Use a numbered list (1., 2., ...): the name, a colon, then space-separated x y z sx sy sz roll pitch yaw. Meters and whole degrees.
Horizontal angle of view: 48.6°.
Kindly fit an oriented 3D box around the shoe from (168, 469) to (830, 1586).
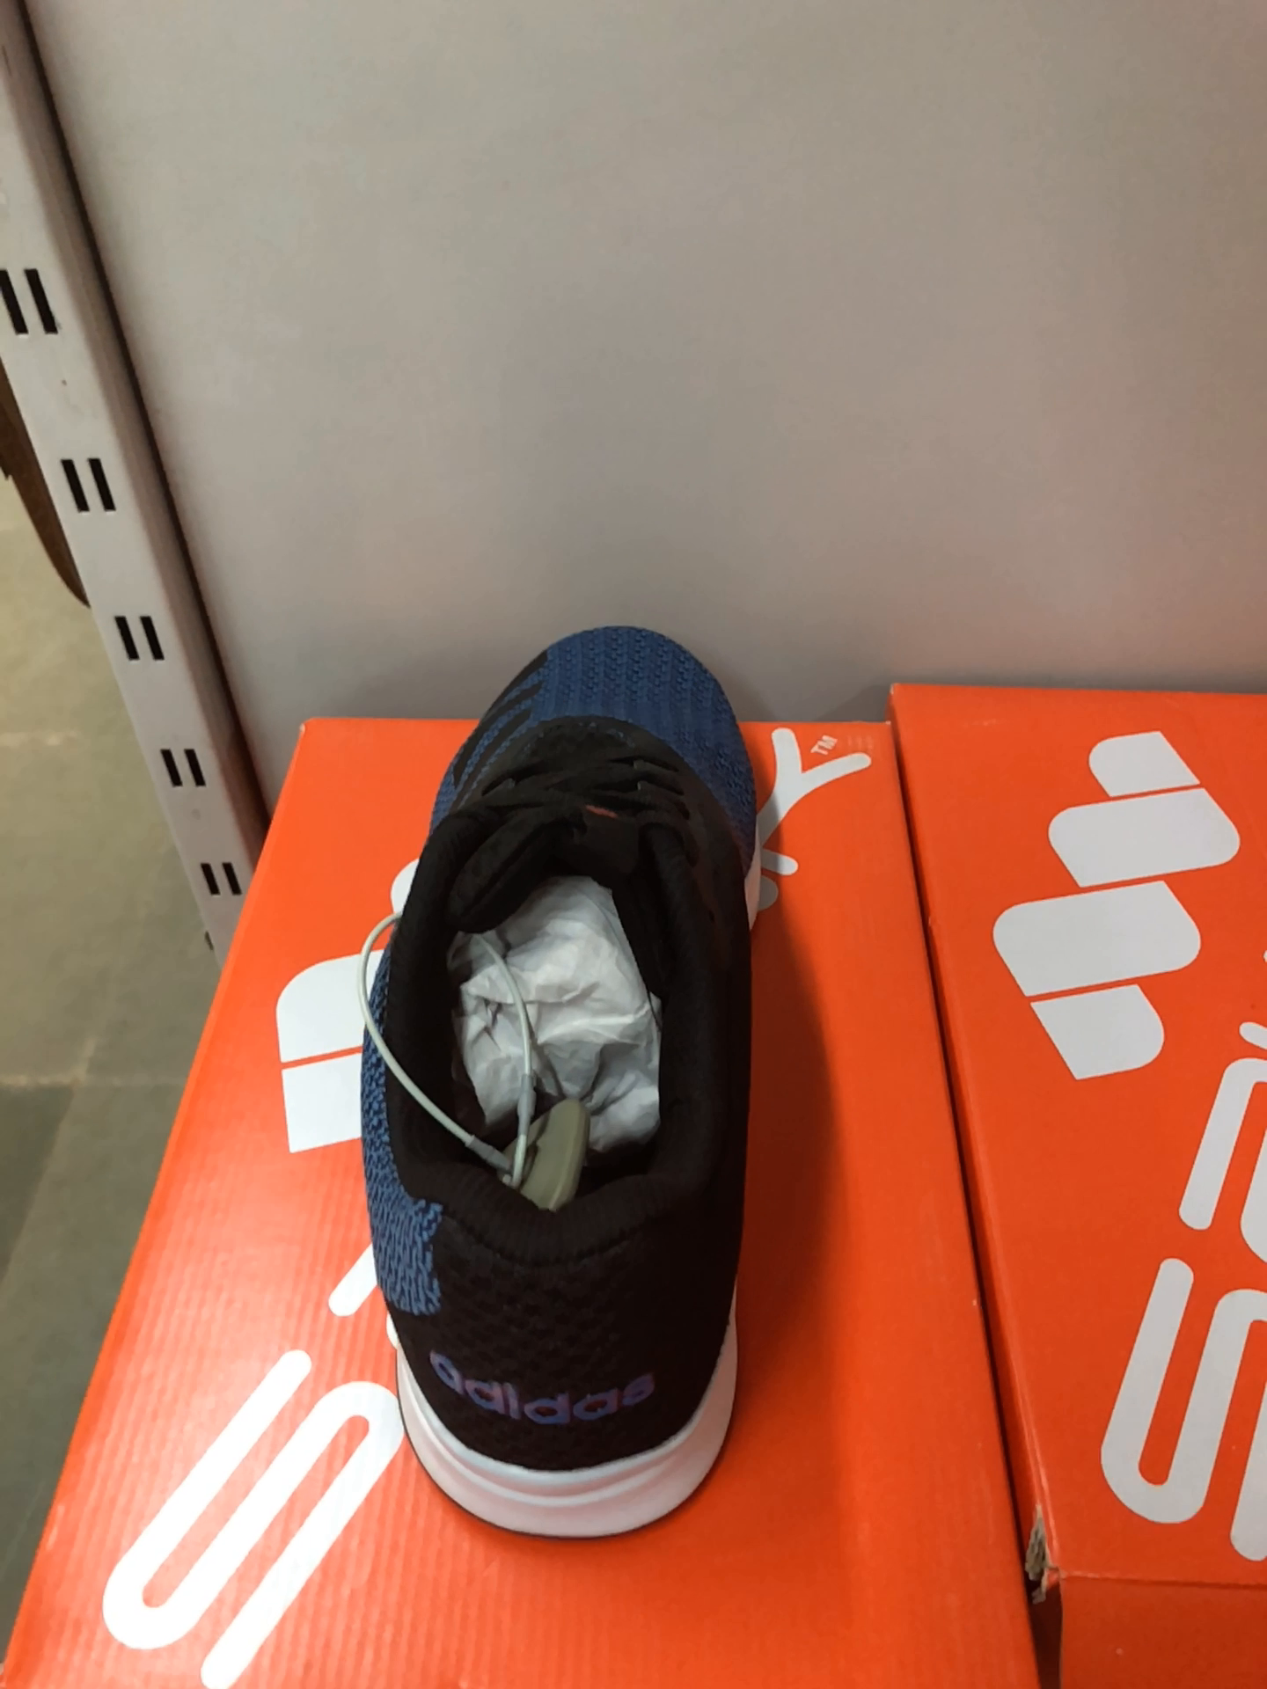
1. shoe: -0.016 0.029 0.360 0.105 0.135 0.255 0 43 2
